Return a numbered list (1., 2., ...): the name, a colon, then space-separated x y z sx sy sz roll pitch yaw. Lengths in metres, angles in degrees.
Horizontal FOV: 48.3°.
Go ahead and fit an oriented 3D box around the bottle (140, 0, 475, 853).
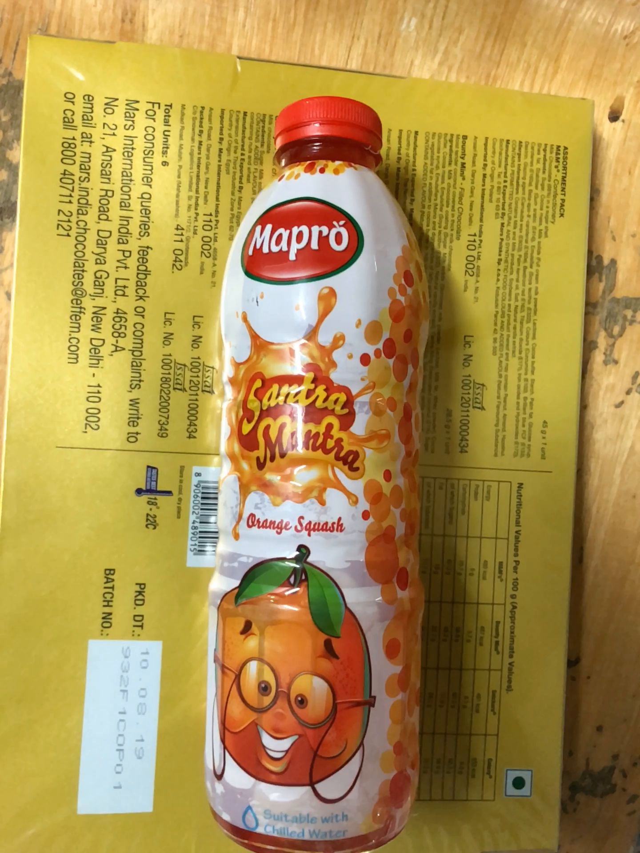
1. bottle: -0.003 0.001 0.285 0.090 0.090 0.300 3 92 34
